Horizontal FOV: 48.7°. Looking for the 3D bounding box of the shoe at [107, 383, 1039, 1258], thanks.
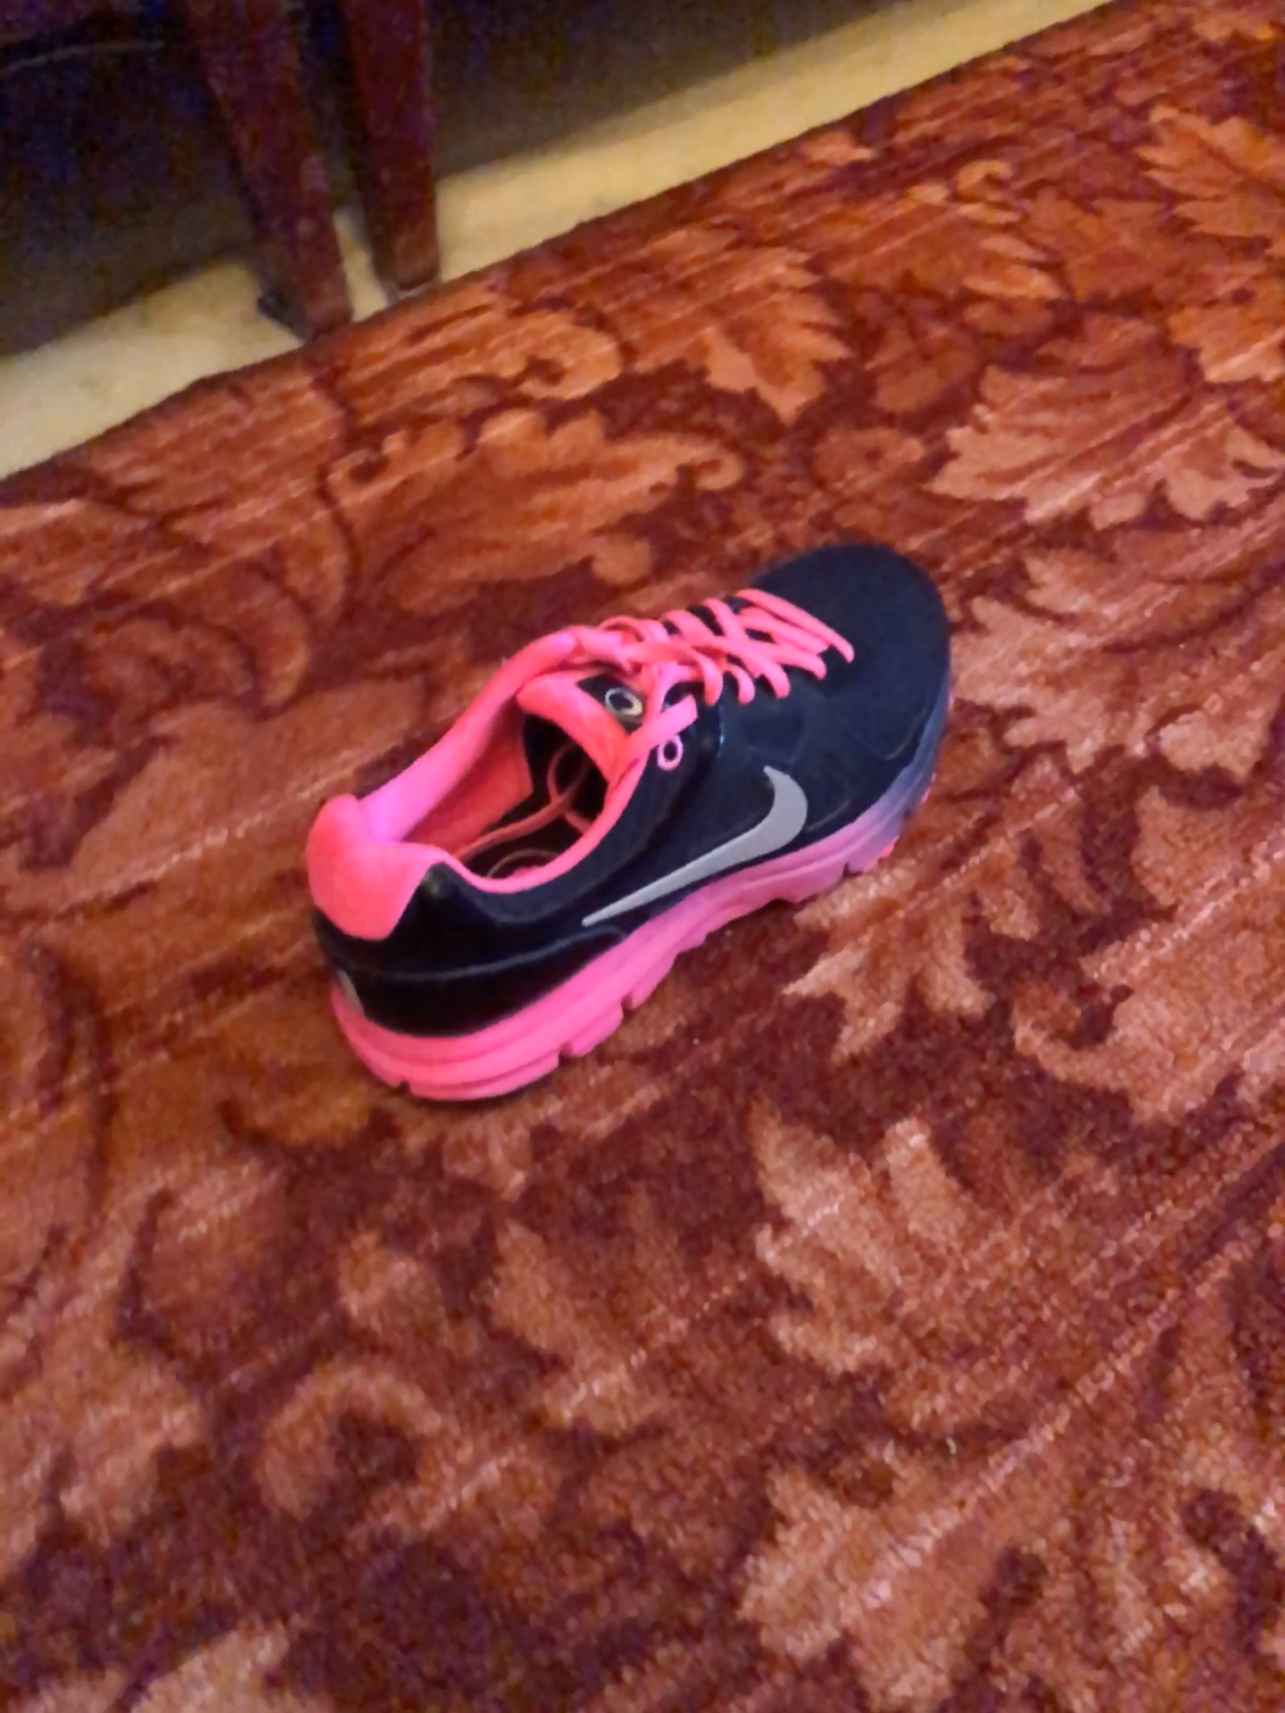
[{"bbox_3d":[-0.008,-0.020,0.416,0.240,0.110,0.100,-38,59,-24],"label":"shoe"}]
